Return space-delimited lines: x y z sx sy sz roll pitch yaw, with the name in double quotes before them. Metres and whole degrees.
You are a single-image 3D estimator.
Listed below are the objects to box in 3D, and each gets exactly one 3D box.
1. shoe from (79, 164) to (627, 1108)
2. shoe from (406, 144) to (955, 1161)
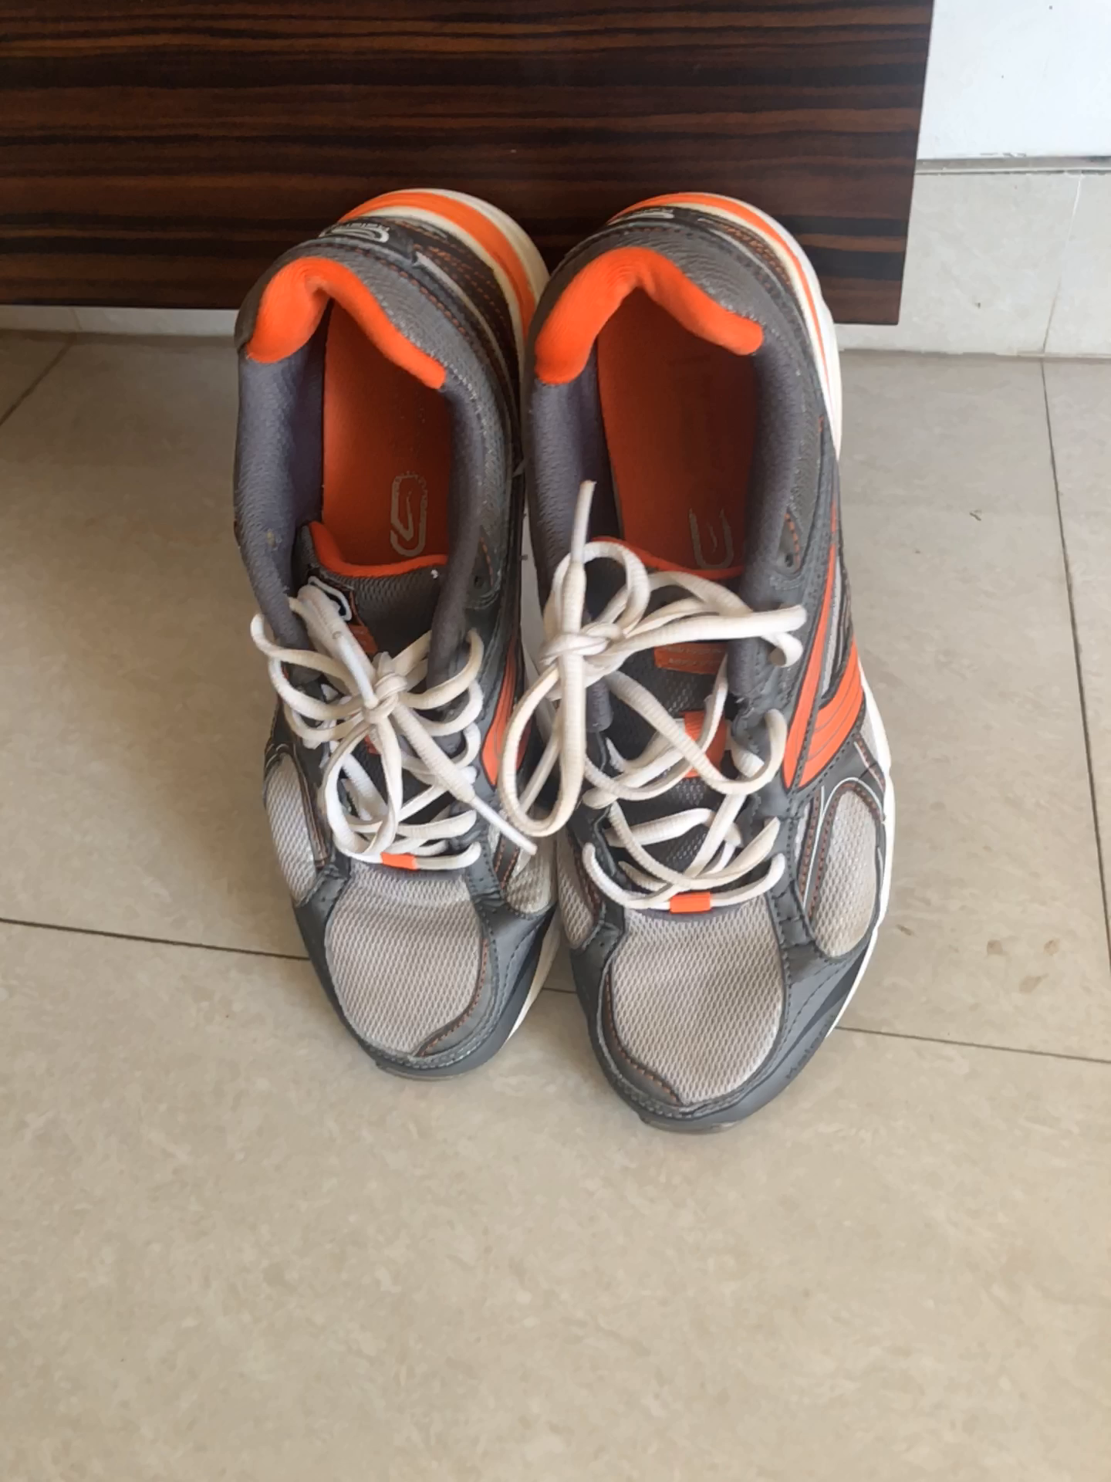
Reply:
"shoe" -0.043 -0.029 0.384 0.120 0.269 0.100 0 24 7
"shoe" 0.044 -0.025 0.363 0.120 0.259 0.110 2 22 14
